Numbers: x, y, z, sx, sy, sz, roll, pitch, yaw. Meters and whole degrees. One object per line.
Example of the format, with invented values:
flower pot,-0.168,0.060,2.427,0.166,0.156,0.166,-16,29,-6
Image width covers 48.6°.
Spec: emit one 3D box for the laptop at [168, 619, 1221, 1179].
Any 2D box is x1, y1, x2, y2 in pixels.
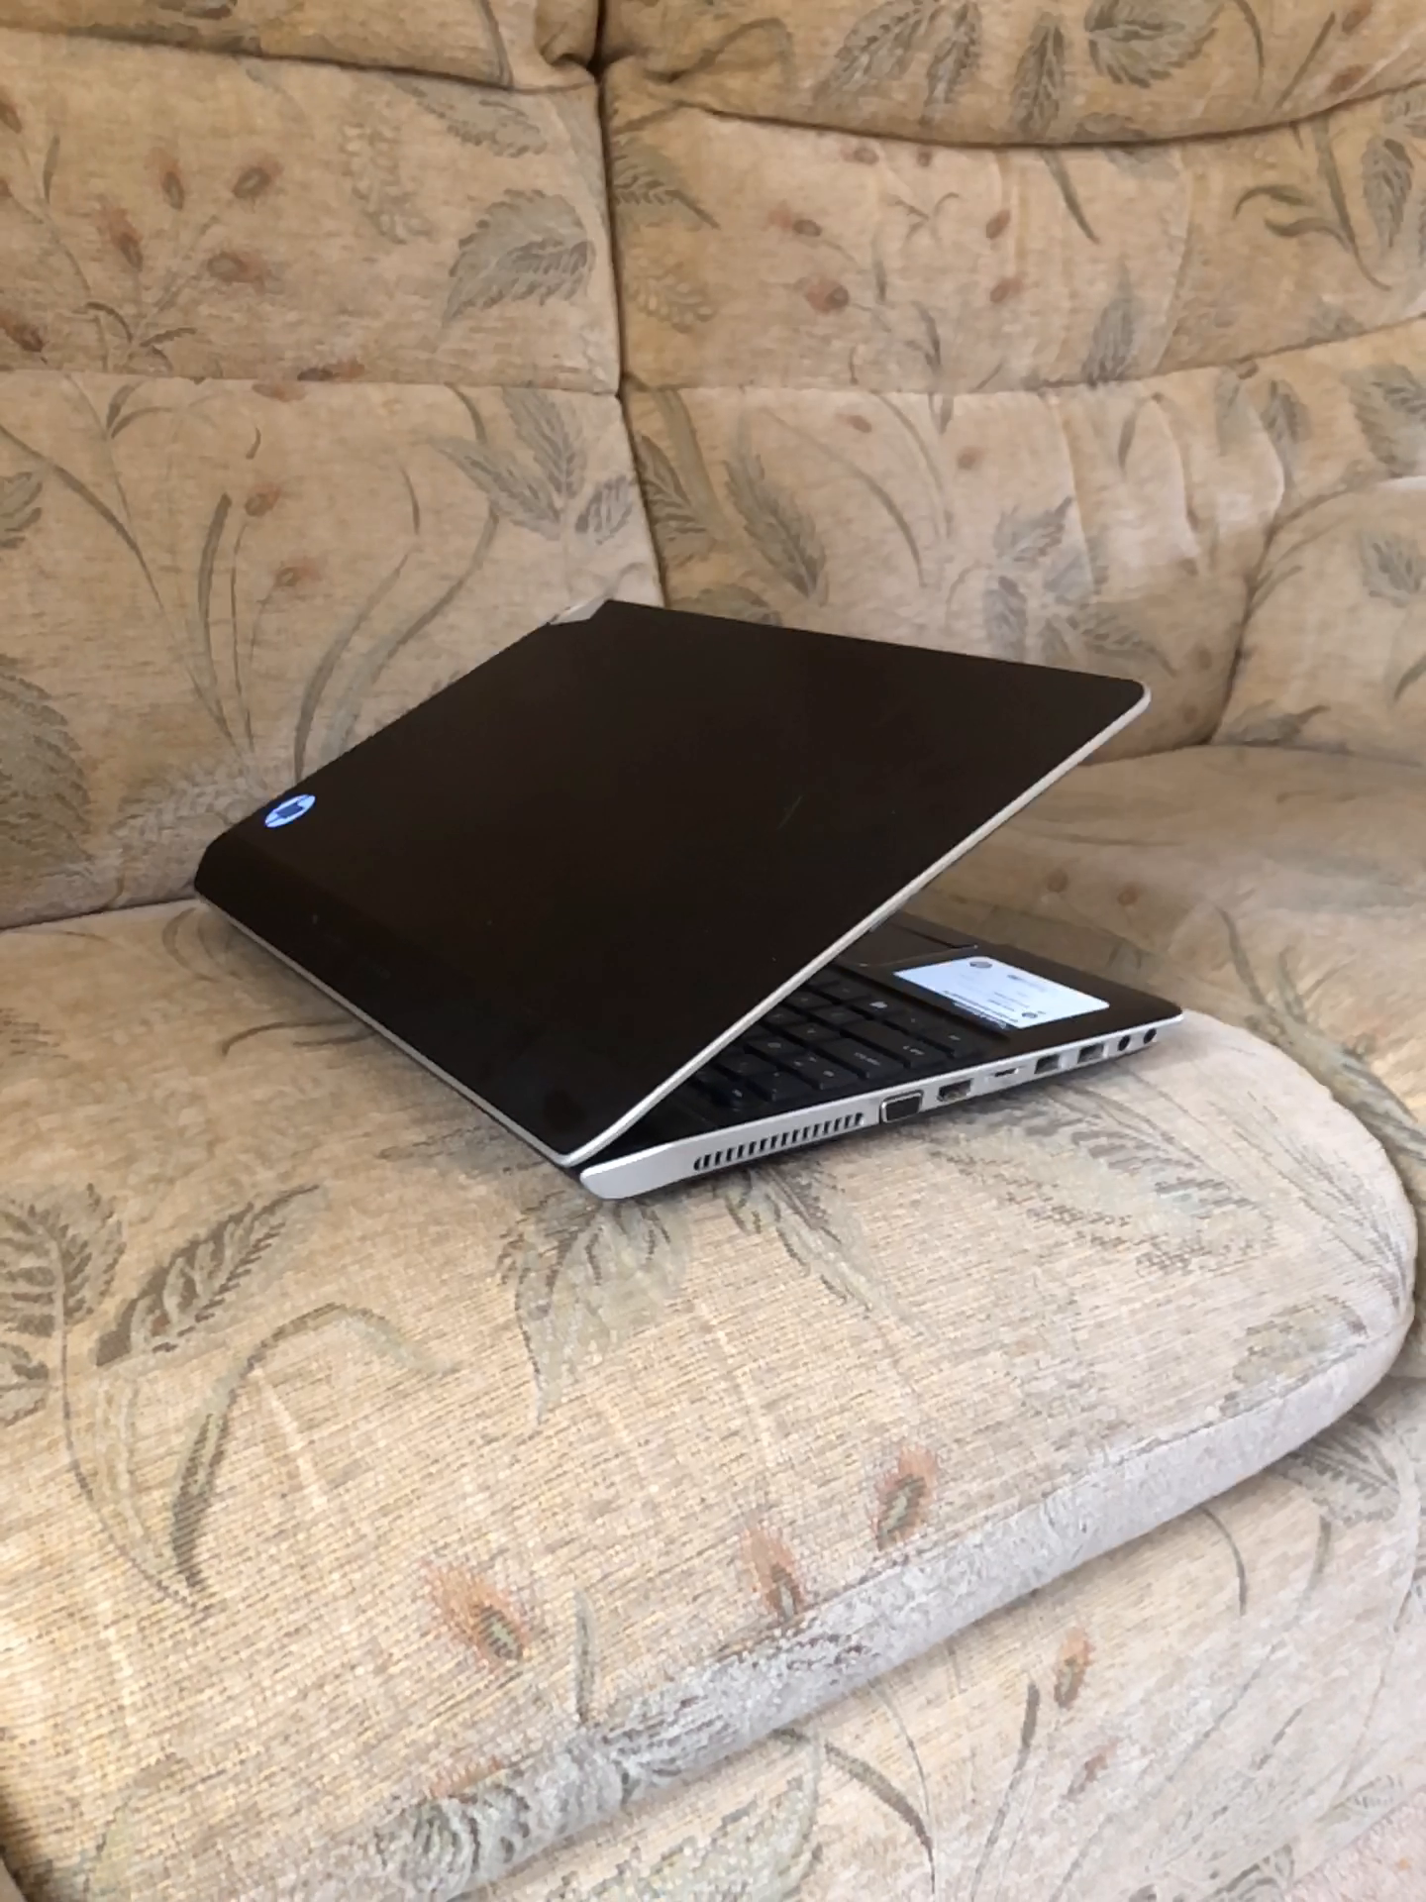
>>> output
laptop,-0.040,-0.058,0.660,0.254,0.113,0.398,-12,22,-33
